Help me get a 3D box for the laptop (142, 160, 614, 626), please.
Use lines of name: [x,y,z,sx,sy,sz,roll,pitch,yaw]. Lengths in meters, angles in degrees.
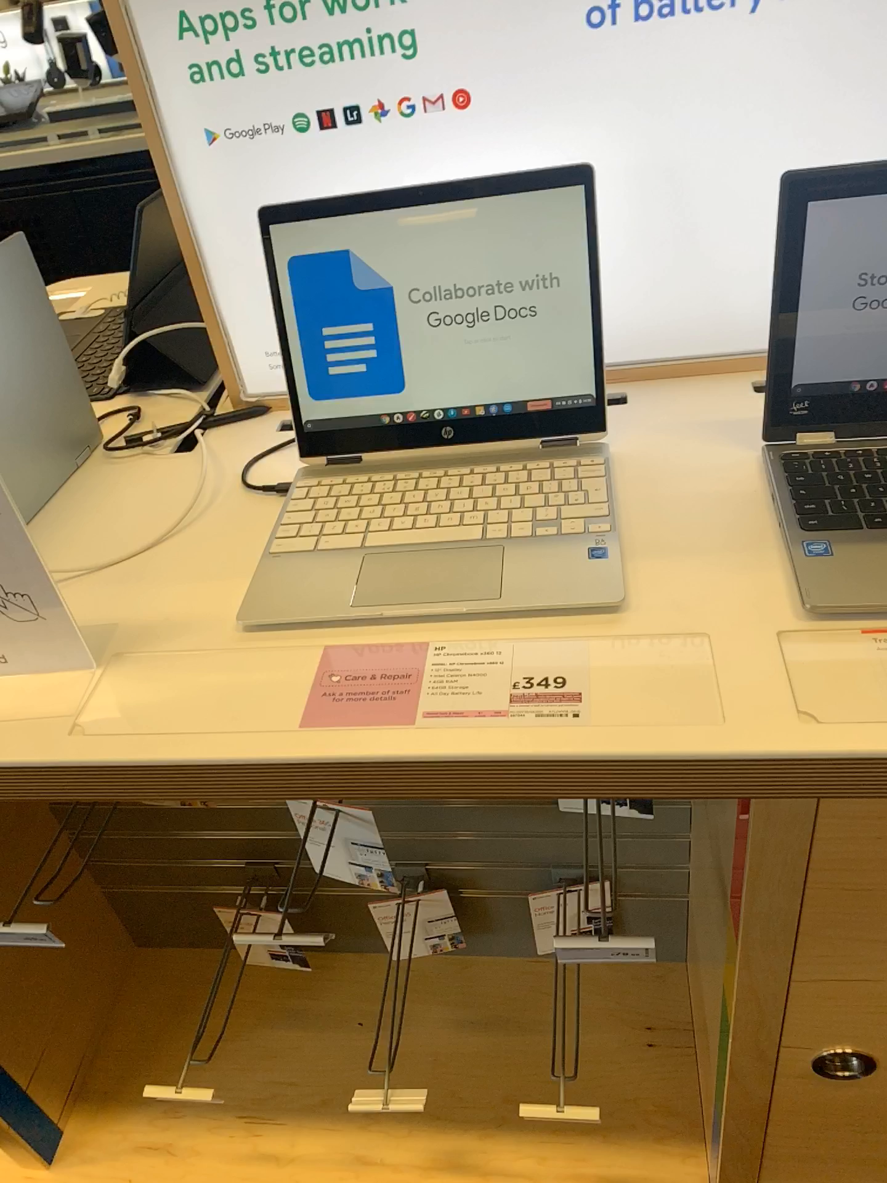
laptop: [-0.019,-0.148,0.650,0.257,0.190,0.271,-3,40,10]
